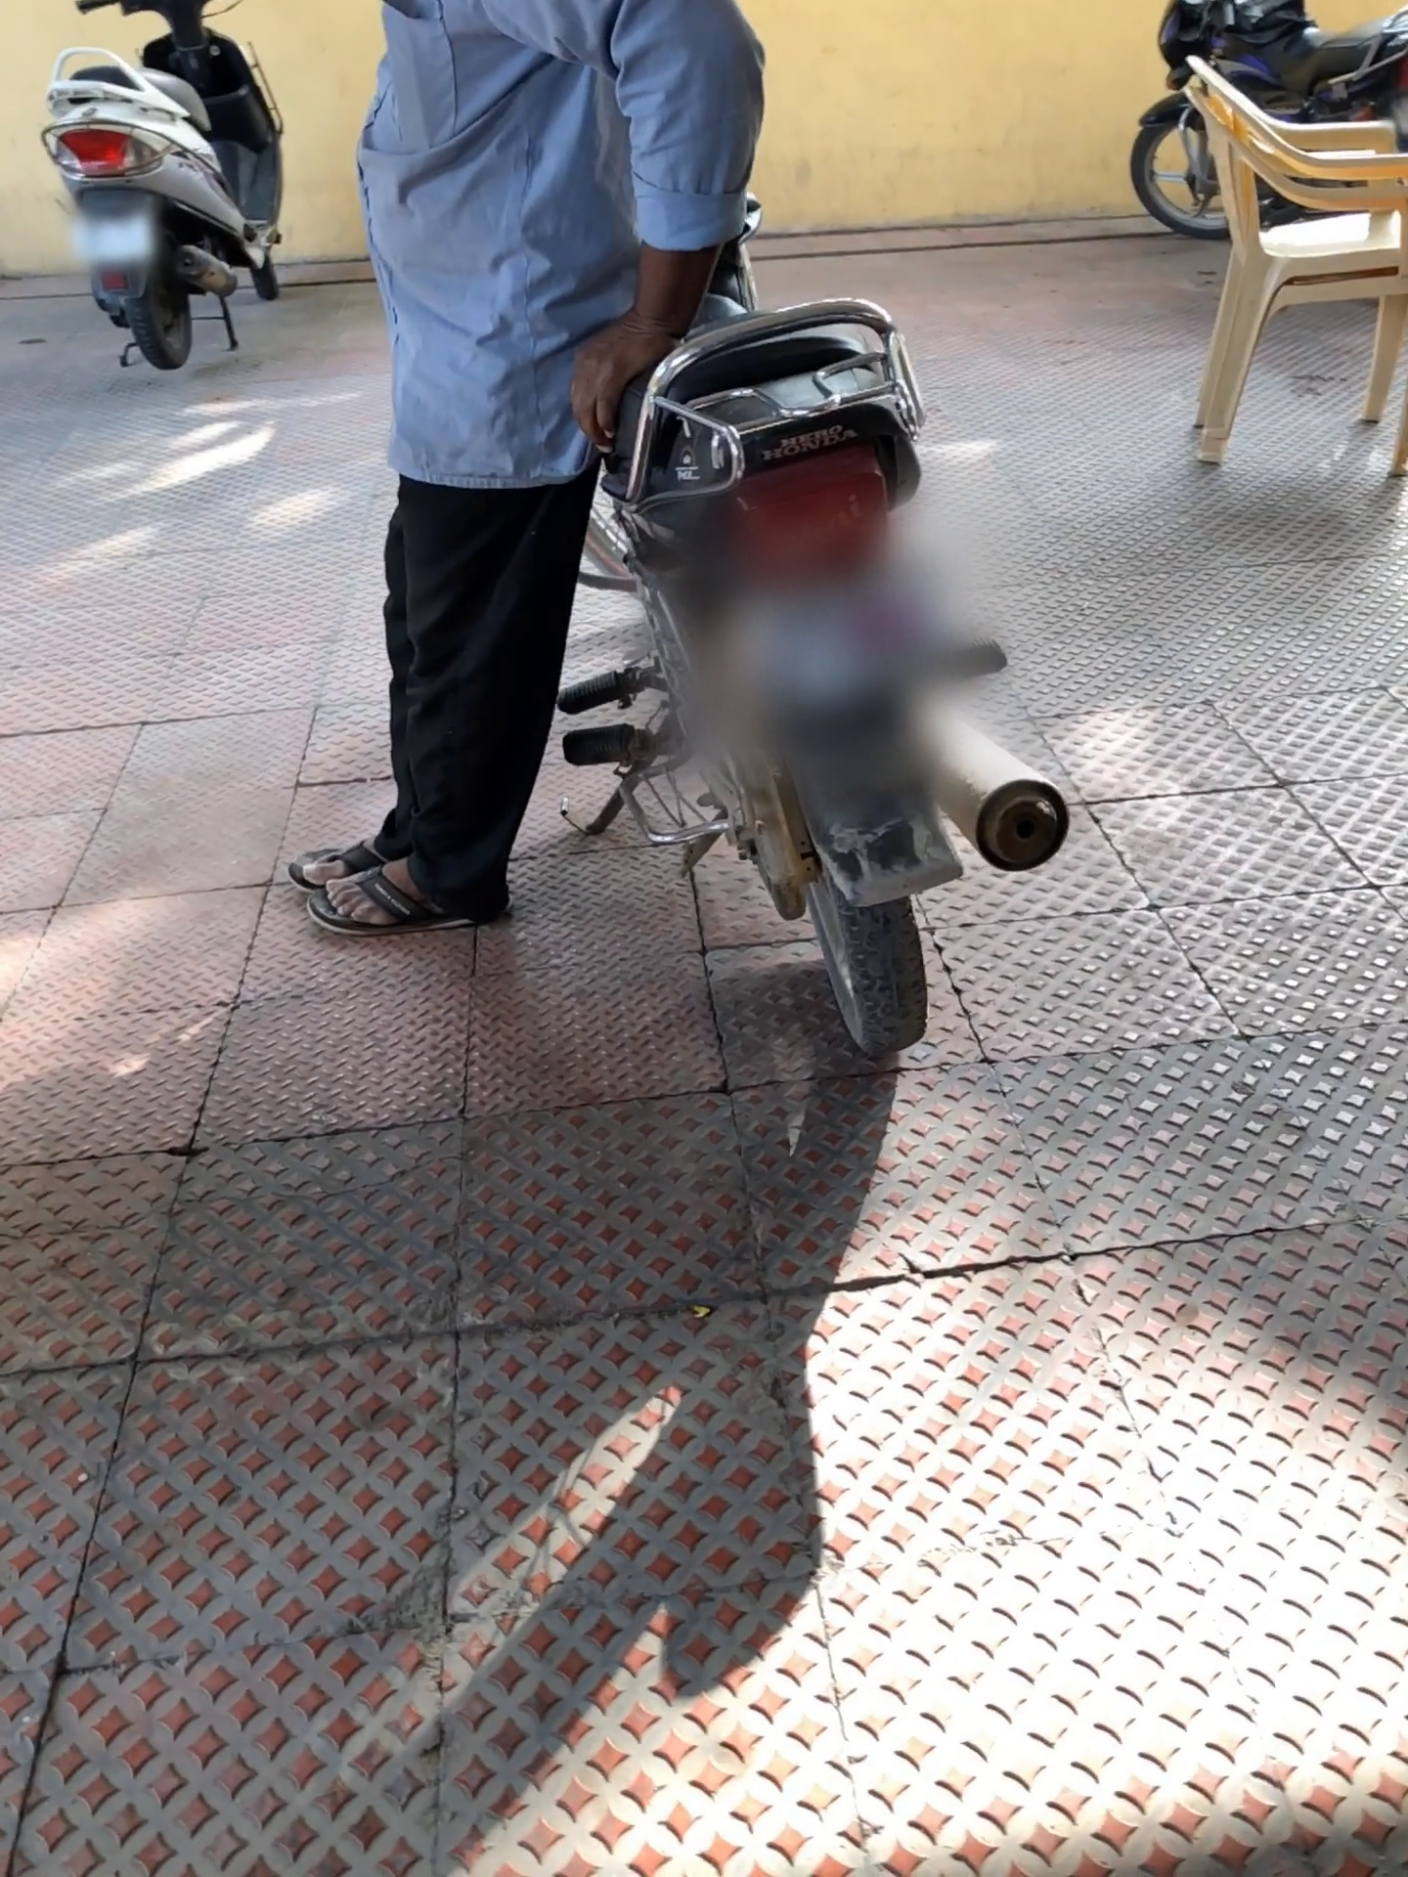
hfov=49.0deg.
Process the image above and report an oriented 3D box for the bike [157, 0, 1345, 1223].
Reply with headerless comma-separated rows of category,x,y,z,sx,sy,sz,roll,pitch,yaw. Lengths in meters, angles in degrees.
bike,-0.051,-0.587,1.850,0.818,1.062,1.306,-8,36,-8
